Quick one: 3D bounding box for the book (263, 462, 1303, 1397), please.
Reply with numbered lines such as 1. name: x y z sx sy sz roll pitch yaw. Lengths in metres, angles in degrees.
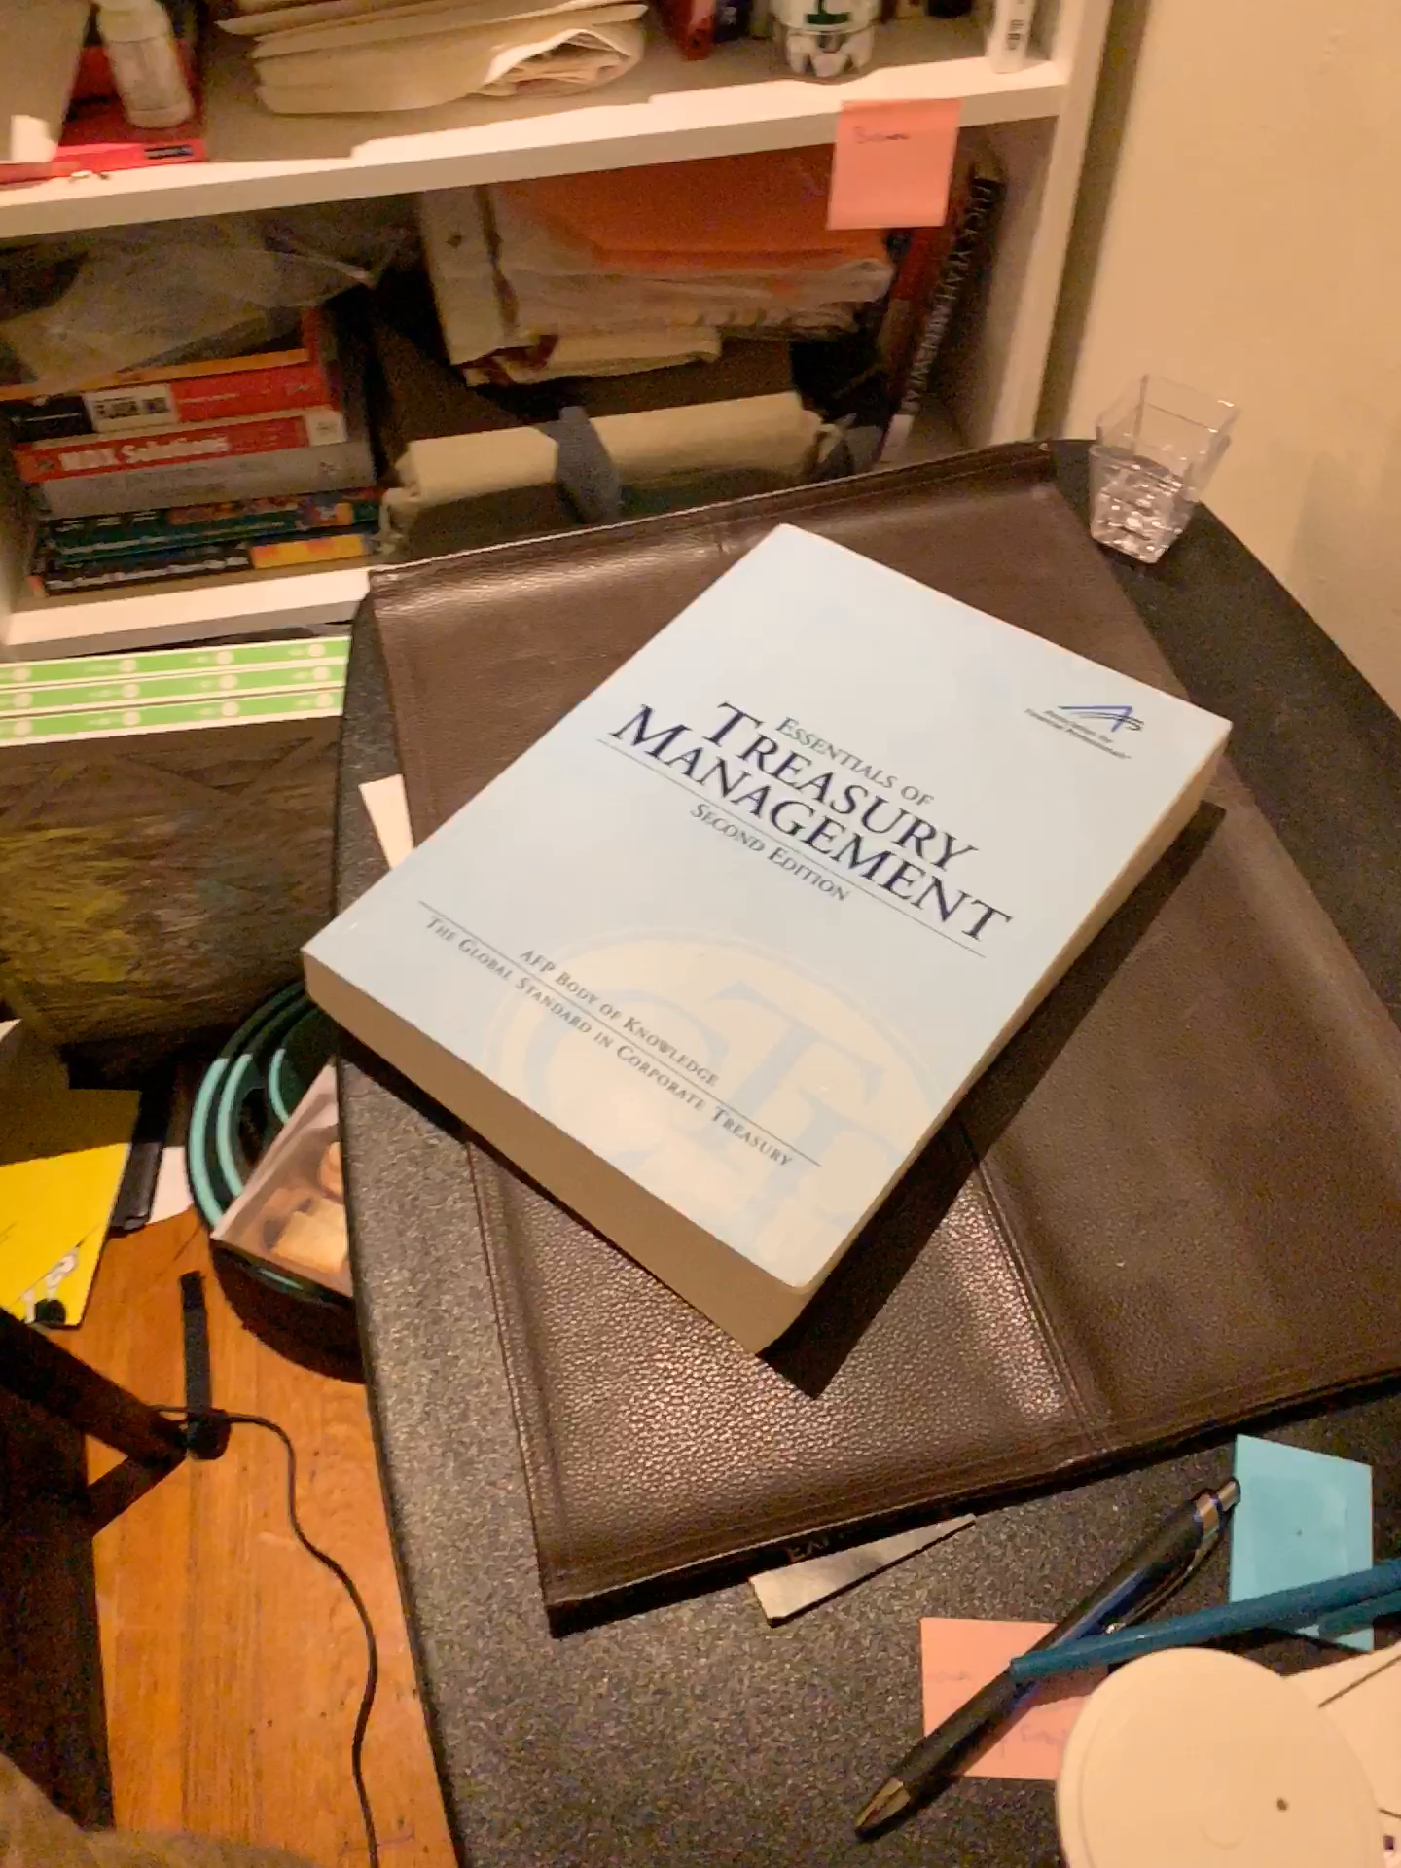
1. book: 0.038 -0.029 0.516 0.221 0.060 0.300 32 61 23
